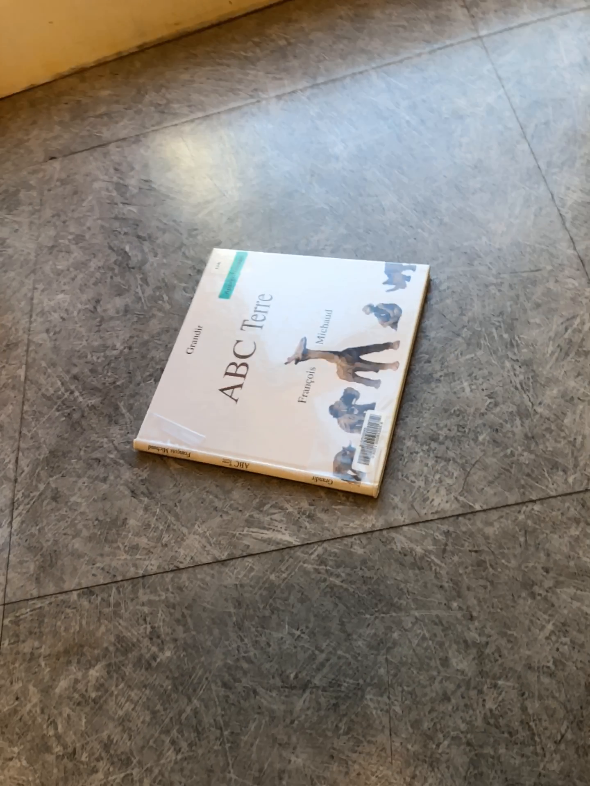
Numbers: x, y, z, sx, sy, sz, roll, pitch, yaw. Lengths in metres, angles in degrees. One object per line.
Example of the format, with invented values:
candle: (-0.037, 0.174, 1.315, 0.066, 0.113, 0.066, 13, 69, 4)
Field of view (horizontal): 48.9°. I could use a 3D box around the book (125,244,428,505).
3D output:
book: (-0.010, -0.027, 0.516, 0.193, 0.020, 0.201, 8, 64, 19)
